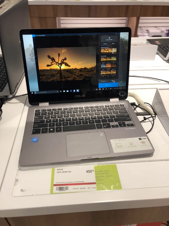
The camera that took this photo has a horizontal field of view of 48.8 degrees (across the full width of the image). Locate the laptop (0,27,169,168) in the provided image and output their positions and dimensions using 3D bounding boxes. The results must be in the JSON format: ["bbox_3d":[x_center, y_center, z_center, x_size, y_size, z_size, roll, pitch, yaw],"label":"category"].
[{"bbox_3d":[-0.003,-0.066,0.478,0.319,0.211,0.291,-5,39,-7],"label":"laptop"}]
